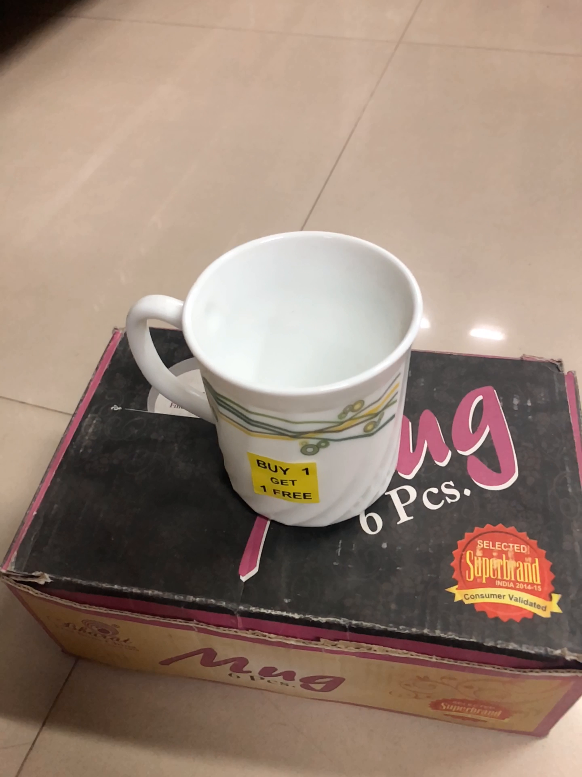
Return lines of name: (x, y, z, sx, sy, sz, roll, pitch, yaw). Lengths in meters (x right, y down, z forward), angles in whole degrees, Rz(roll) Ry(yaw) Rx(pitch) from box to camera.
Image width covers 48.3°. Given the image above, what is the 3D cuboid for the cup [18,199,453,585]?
cup: (-0.011, 0.001, 0.246, 0.120, 0.099, 0.080, 11, 50, 13)
